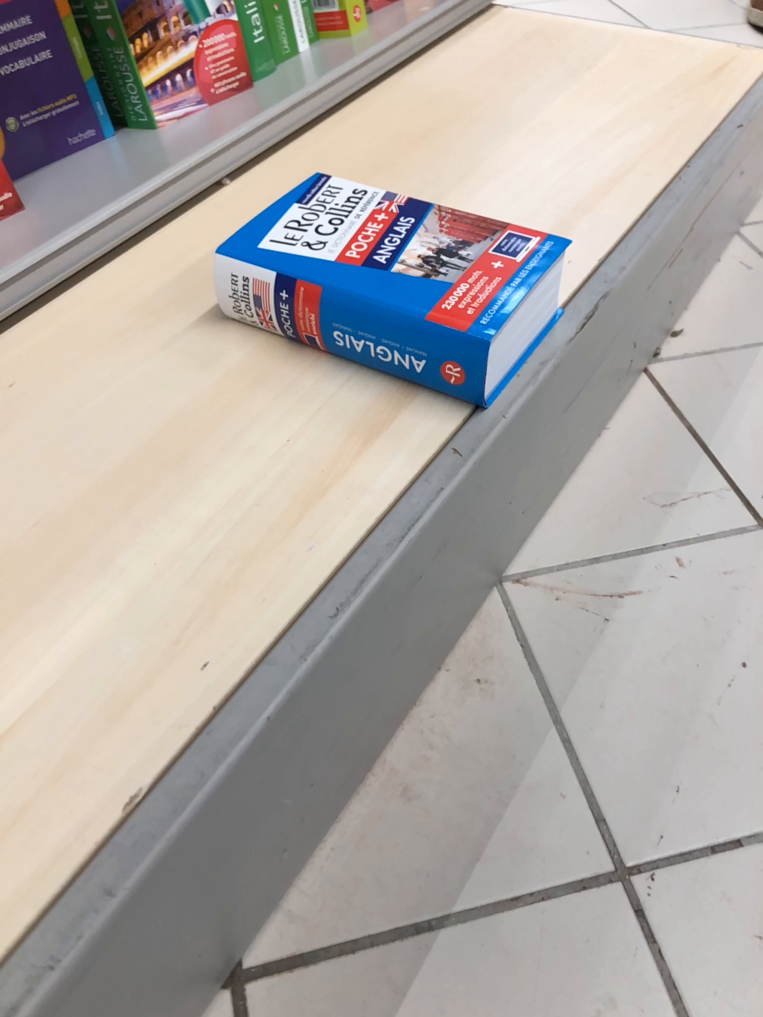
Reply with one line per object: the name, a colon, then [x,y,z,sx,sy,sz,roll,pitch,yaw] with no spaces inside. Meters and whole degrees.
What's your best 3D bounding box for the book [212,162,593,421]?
book: [0.014,-0.140,0.510,0.183,0.051,0.129,23,52,21]
